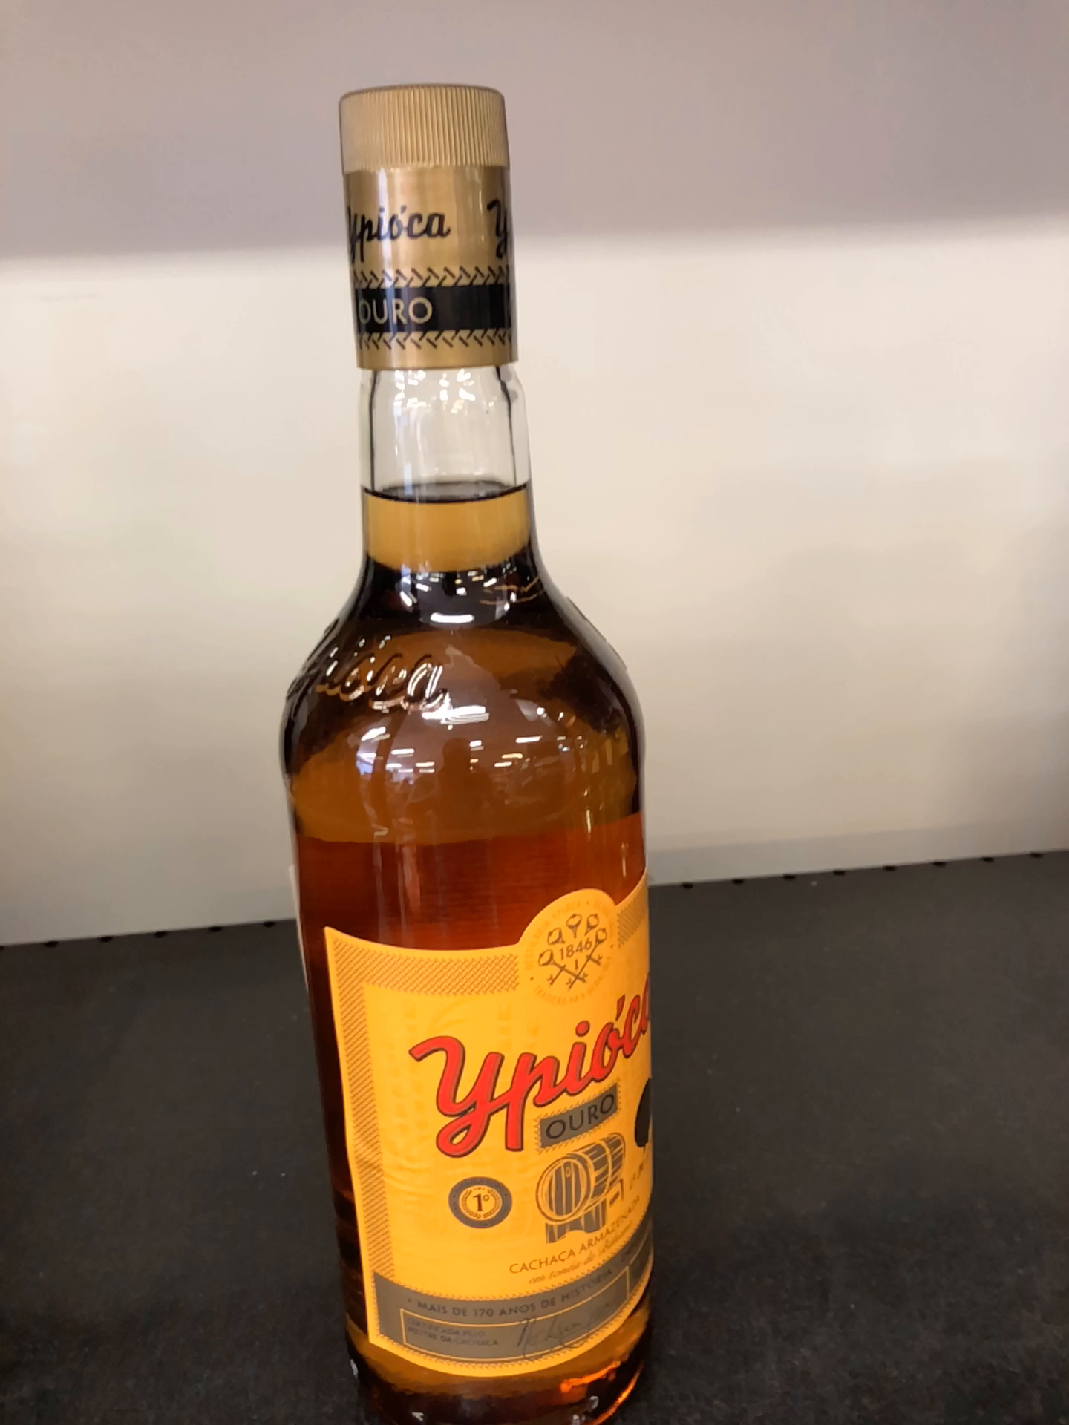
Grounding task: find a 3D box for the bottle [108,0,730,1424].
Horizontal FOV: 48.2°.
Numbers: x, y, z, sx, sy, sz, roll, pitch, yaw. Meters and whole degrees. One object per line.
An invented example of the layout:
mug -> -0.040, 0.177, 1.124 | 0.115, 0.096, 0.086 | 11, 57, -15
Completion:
bottle -> -0.018, 0.032, 0.254 | 0.080, 0.308, 0.070 | -14, 24, -30
